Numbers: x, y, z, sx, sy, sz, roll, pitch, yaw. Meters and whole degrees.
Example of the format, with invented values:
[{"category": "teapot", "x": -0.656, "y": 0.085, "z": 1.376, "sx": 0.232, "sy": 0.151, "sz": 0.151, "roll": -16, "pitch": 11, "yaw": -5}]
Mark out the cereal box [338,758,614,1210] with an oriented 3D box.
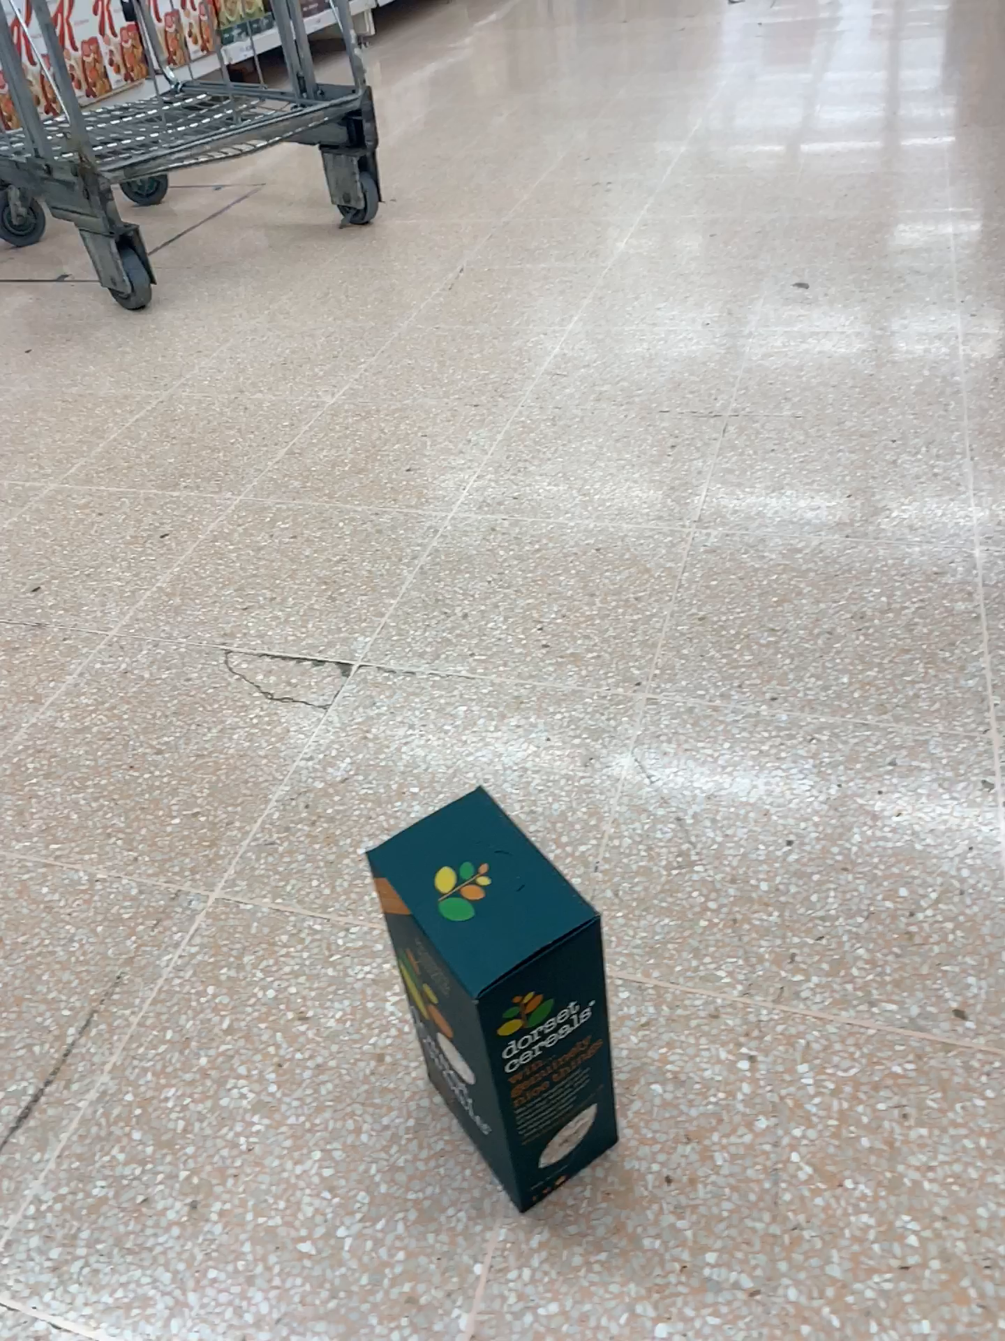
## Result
[{"category": "cereal box", "x": -0.009, "y": 0.187, "z": 0.600, "sx": 0.080, "sy": 0.238, "sz": 0.121, "roll": -27, "pitch": 43, "yaw": -21}]
